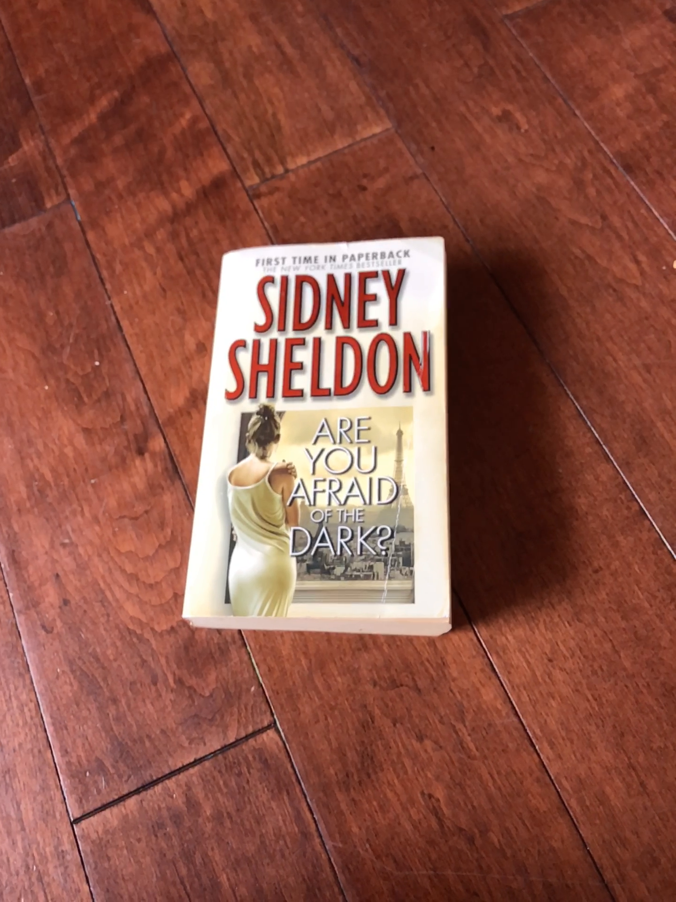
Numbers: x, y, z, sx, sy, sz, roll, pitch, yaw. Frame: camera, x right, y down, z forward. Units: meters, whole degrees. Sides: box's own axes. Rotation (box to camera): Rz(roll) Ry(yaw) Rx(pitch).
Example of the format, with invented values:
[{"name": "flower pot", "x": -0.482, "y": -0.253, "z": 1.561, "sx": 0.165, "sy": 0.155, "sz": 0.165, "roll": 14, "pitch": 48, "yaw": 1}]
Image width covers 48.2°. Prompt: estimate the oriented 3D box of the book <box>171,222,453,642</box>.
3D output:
[{"name": "book", "x": -0.005, "y": -0.012, "z": 0.335, "sx": 0.108, "sy": 0.040, "sz": 0.180, "roll": -1, "pitch": 69, "yaw": 9}]
